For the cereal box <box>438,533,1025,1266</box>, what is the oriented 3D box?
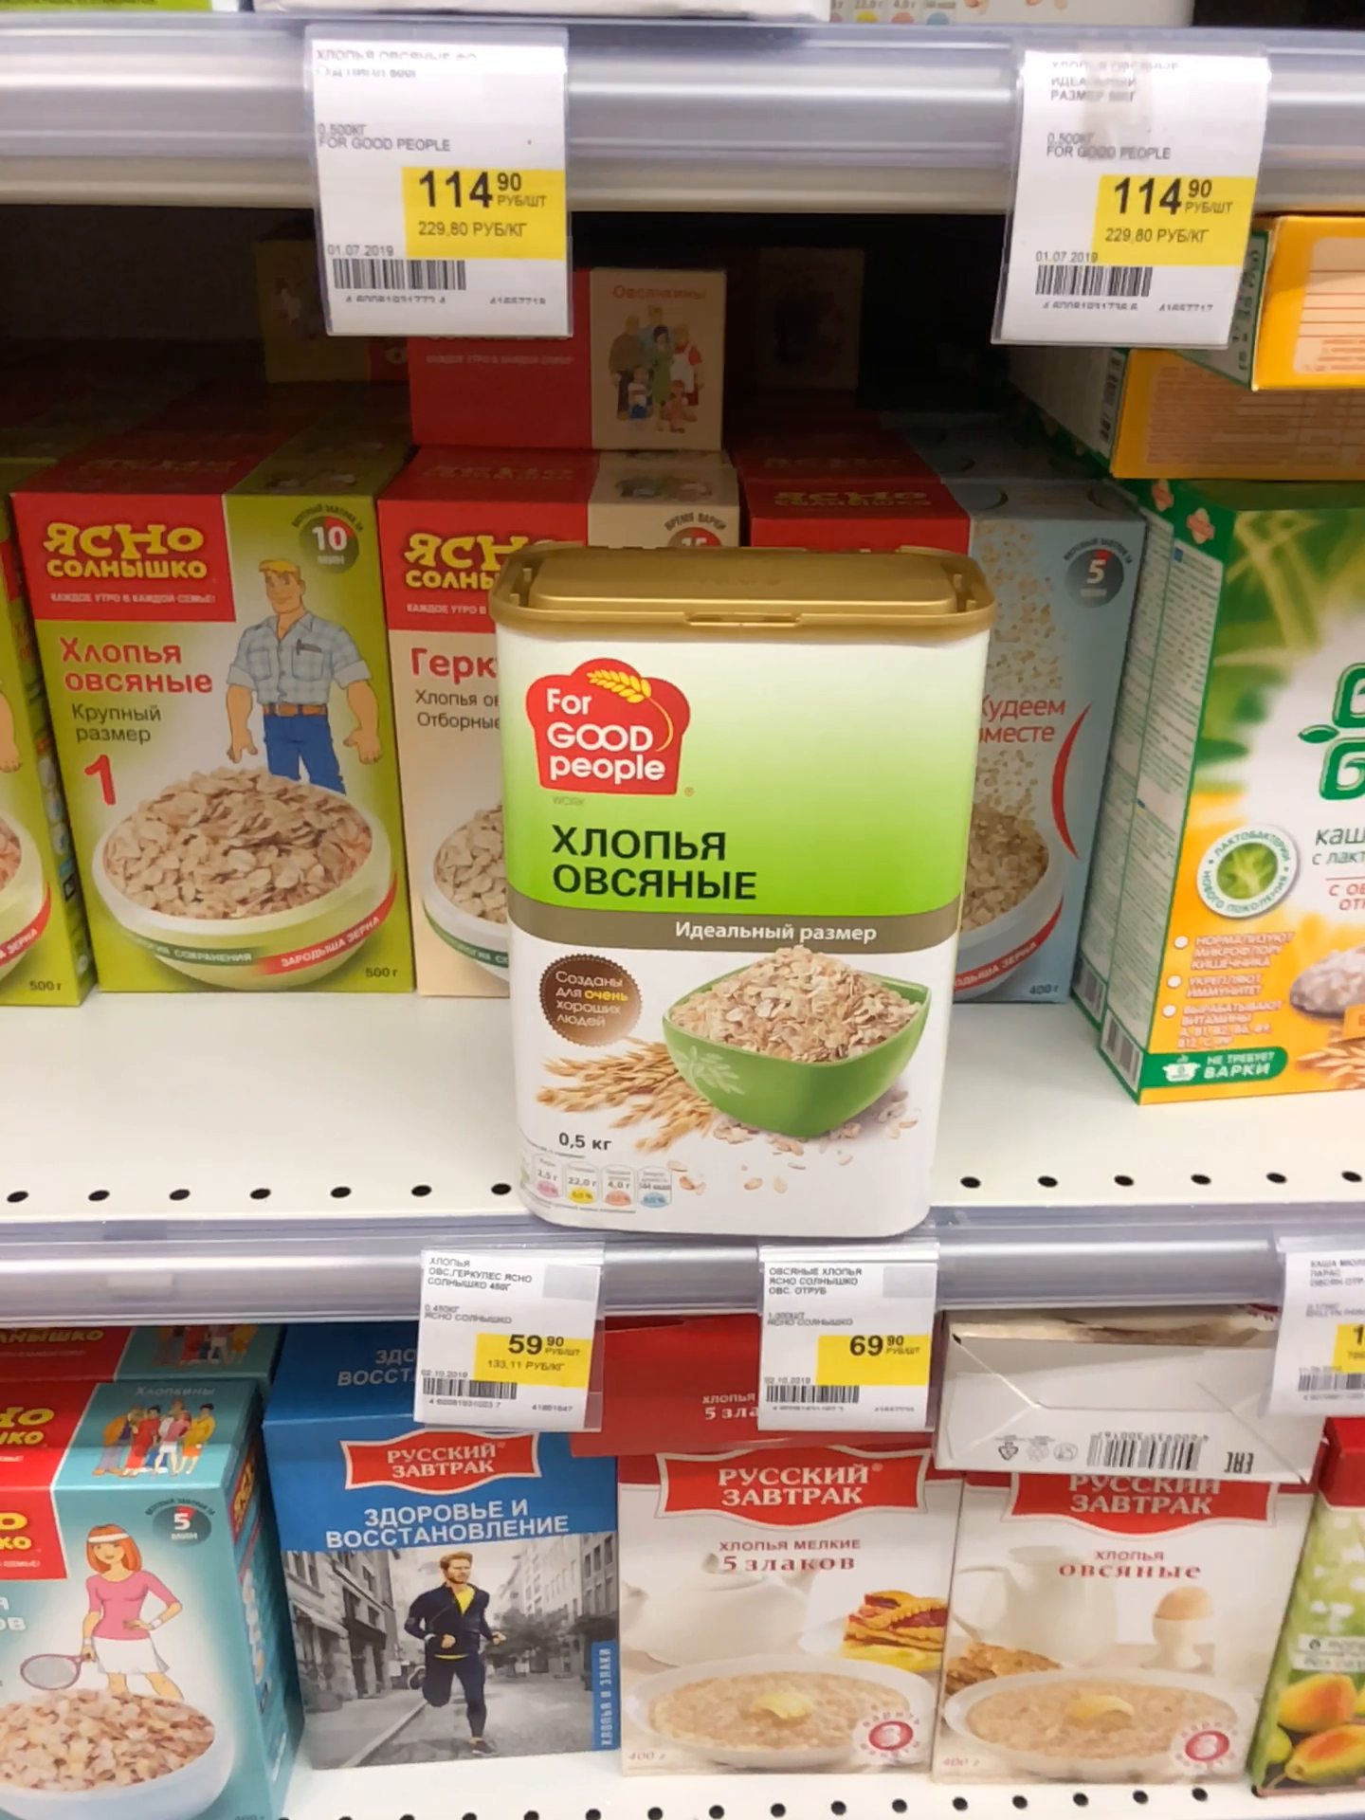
[{"bbox_3d":[0.013,-0.004,0.441,0.140,0.189,0.091,2,26,3],"label":"cereal box"}]
